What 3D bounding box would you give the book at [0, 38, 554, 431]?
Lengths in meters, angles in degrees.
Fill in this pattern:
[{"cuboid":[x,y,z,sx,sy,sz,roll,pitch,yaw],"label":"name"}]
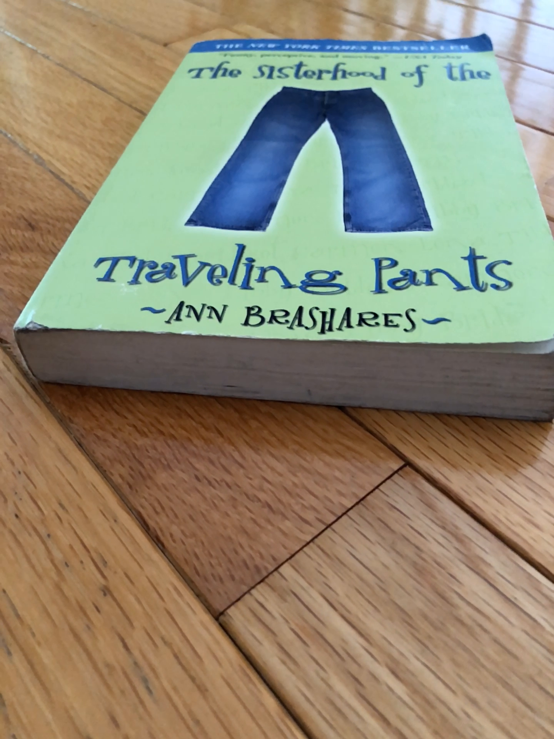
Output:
[{"cuboid":[0.011,-0.072,0.225,0.141,0.025,0.210,4,44,7],"label":"book"}]
